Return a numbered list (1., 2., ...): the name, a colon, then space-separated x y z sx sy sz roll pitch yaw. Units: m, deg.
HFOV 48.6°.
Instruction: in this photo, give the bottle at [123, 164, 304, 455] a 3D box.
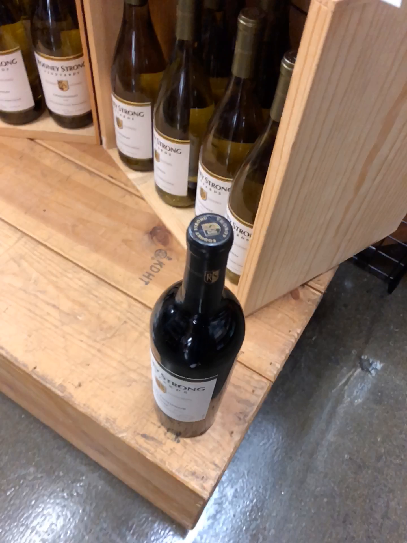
1. bottle: -0.008 0.063 0.383 0.070 0.309 0.080 -28 62 -23
